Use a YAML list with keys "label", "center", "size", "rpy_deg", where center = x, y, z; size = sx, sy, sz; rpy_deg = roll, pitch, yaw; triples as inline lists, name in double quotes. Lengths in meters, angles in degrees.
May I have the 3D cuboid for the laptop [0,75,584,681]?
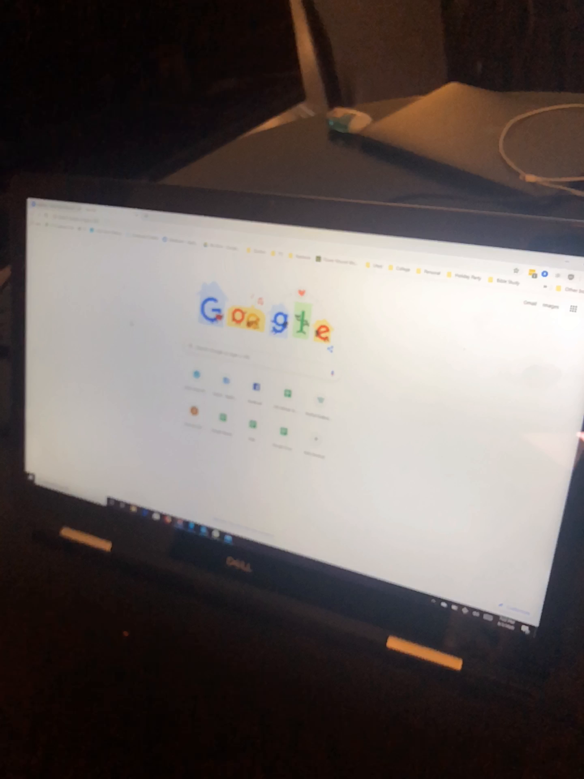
- label: "laptop"
  center: [0.004, -0.044, 0.452]
  size: [0.419, 0.232, 0.268]
  rpy_deg: [12, 48, 22]
